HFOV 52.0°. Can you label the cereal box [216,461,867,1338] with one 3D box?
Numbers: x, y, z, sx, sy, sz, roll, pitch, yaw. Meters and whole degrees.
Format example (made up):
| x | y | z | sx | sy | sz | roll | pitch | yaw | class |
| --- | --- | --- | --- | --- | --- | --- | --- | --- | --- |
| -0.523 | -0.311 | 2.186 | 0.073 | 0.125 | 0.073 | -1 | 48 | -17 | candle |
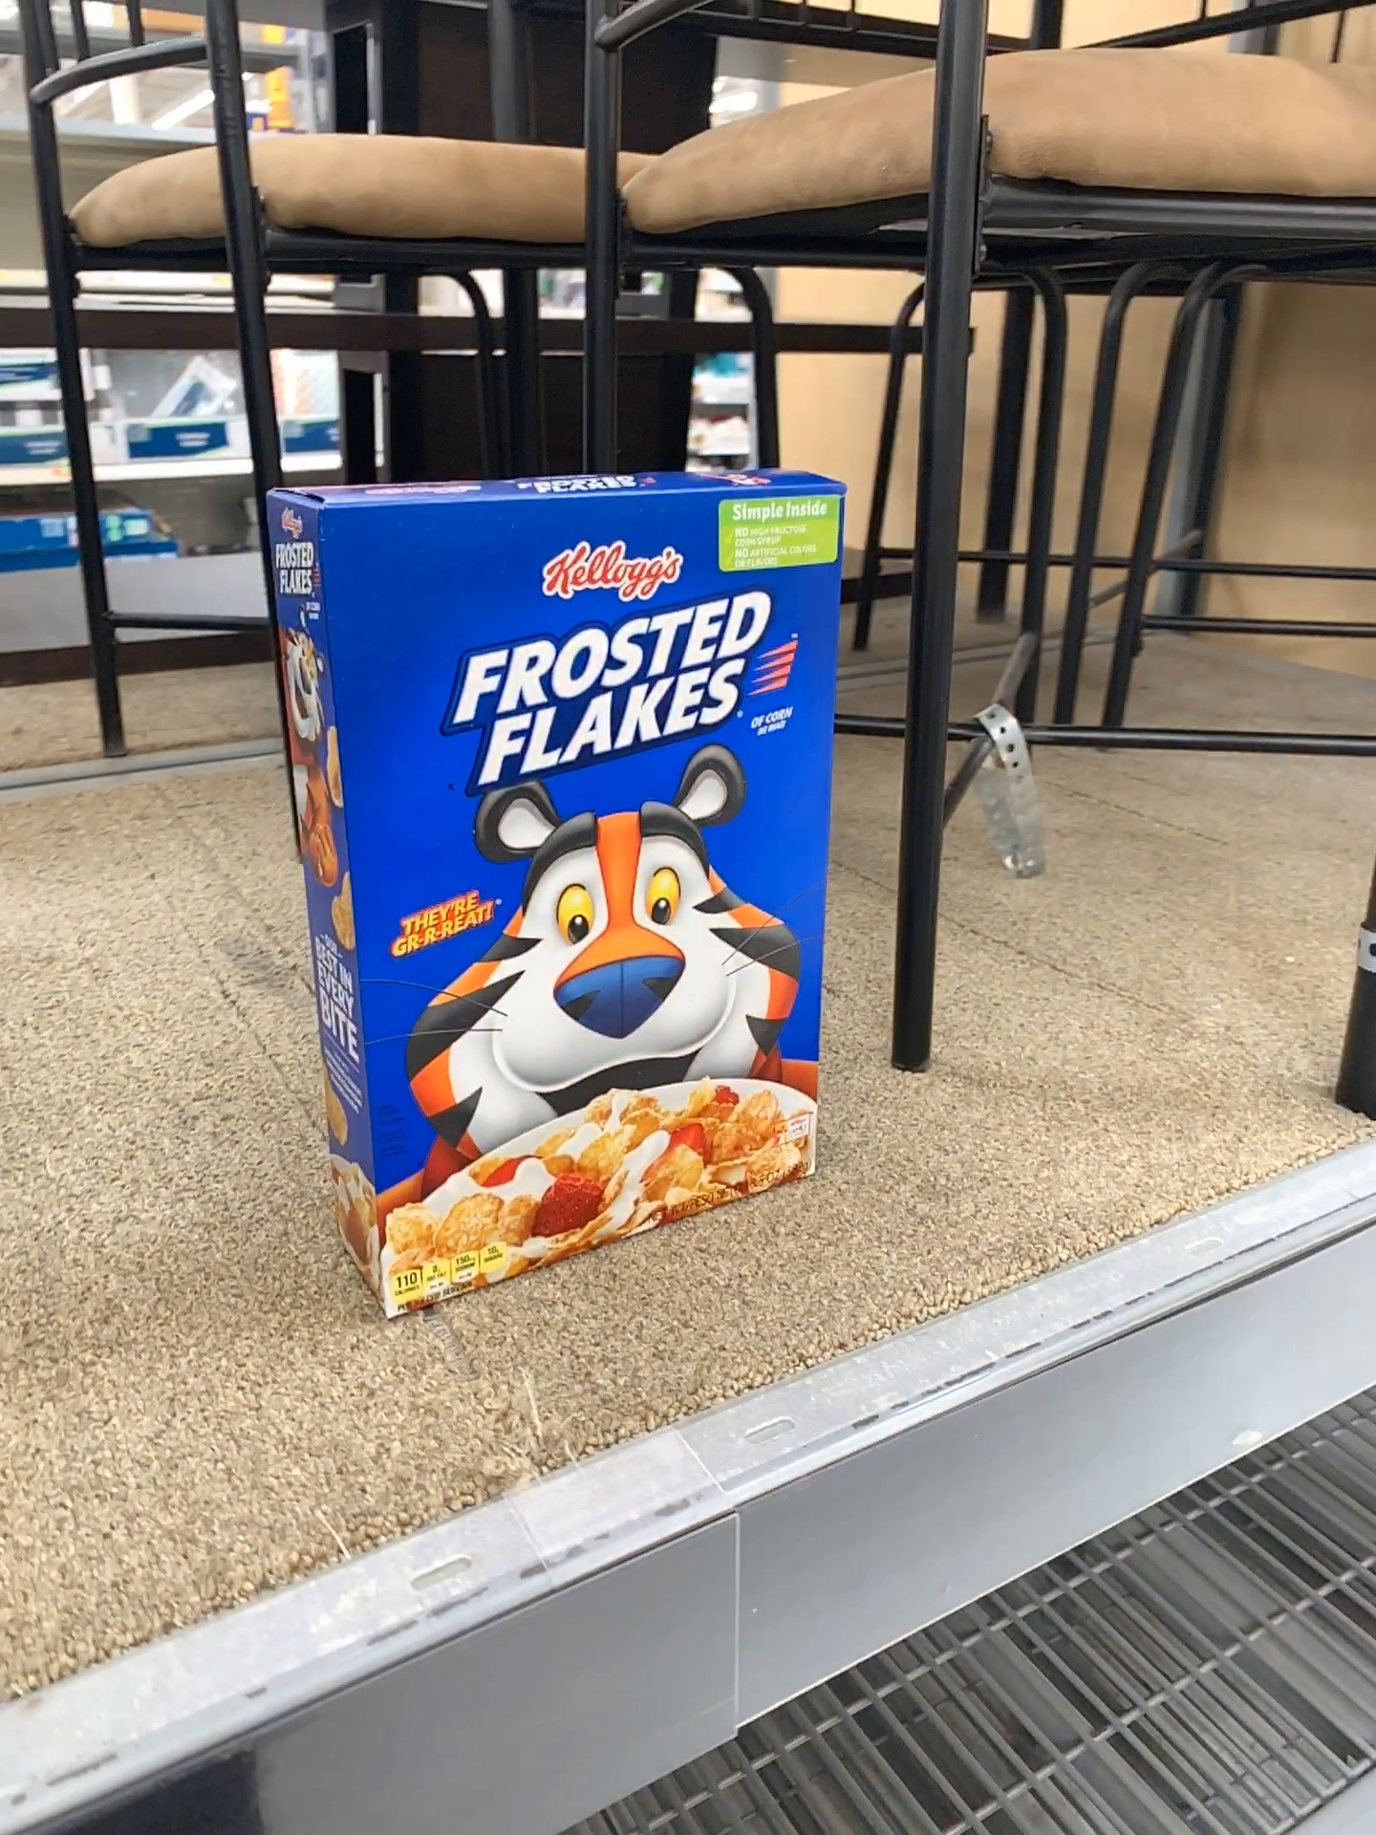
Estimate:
| x | y | z | sx | sy | sz | roll | pitch | yaw | class |
| --- | --- | --- | --- | --- | --- | --- | --- | --- | --- |
| -0.046 | -0.014 | 0.532 | 0.210 | 0.289 | 0.070 | -12 | 25 | -28 | cereal box |
